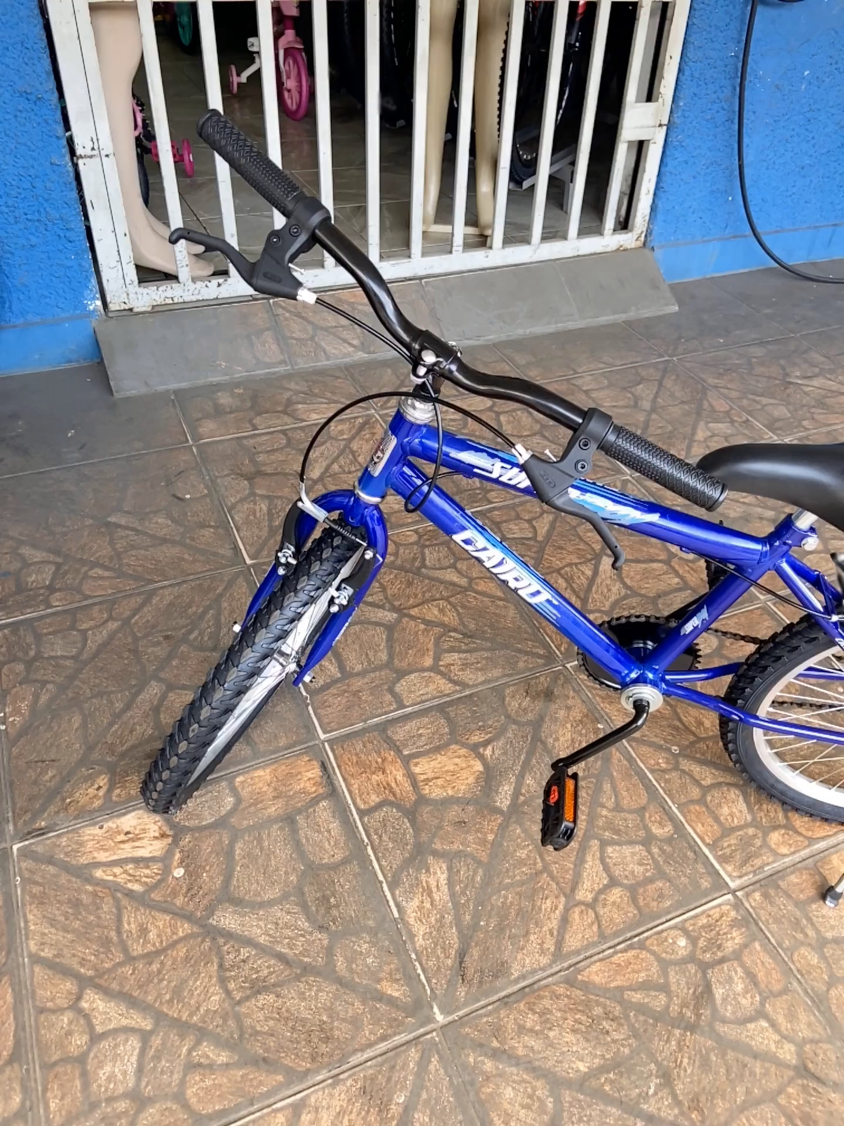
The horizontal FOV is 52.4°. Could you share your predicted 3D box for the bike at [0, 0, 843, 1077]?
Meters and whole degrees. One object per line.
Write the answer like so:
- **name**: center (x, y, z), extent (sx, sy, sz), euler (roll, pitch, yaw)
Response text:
- **bike**: center (0.291, 0.046, 0.913), extent (1.181, 0.949, 0.547), euler (2, 38, -4)
